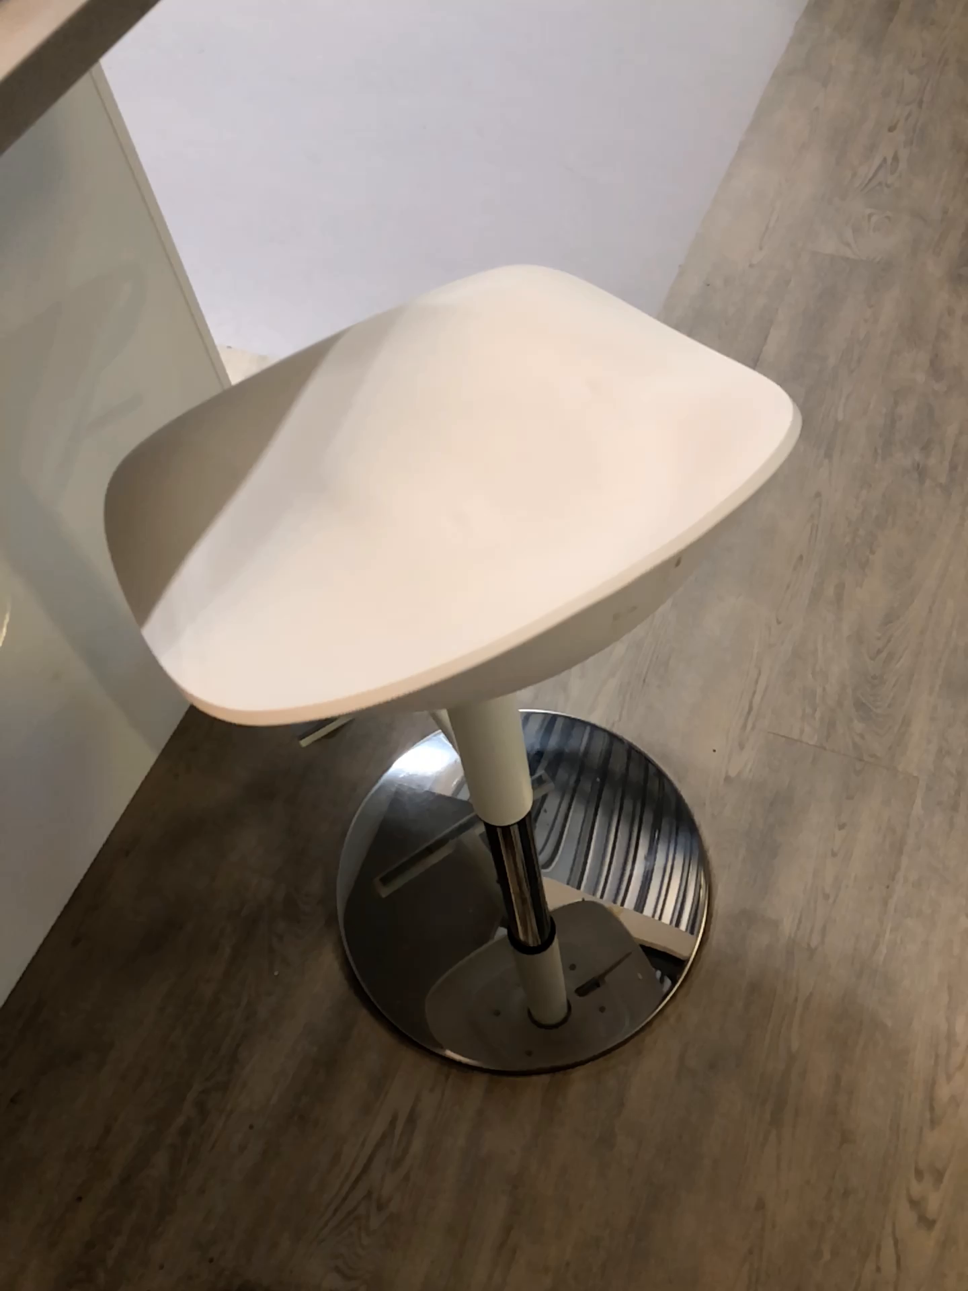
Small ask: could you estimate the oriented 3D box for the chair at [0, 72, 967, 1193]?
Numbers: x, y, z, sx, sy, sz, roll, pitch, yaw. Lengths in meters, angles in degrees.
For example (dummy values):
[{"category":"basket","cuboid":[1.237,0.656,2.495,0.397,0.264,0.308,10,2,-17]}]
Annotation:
[{"category":"chair","cuboid":[0.006,0.060,0.859,0.440,0.716,0.442,-33,59,-14]}]
